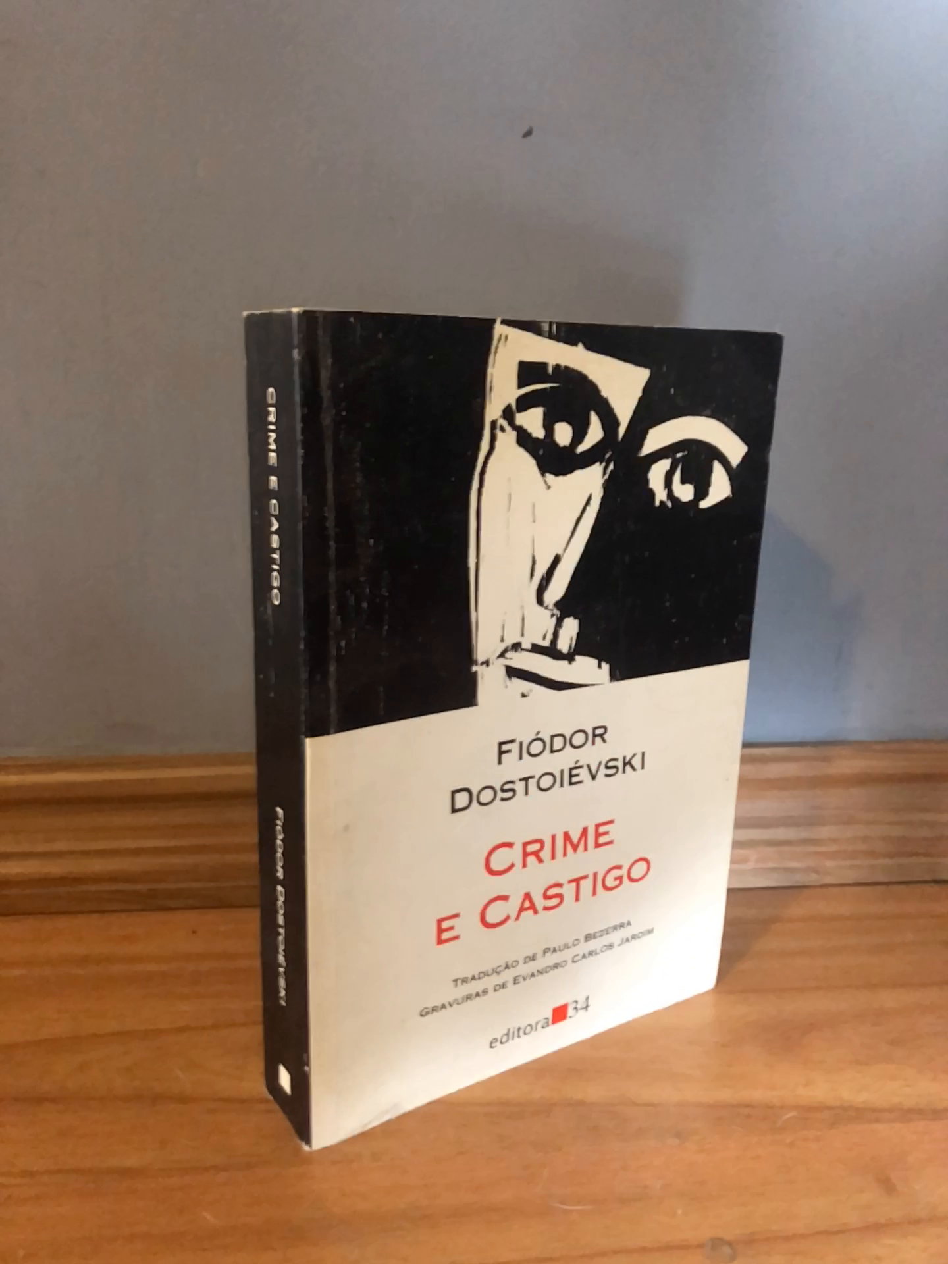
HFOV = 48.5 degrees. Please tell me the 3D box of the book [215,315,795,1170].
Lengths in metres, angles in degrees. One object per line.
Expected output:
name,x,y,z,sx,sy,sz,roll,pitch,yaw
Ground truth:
book,0.013,0.023,0.325,0.170,0.223,0.045,-7,15,-32
